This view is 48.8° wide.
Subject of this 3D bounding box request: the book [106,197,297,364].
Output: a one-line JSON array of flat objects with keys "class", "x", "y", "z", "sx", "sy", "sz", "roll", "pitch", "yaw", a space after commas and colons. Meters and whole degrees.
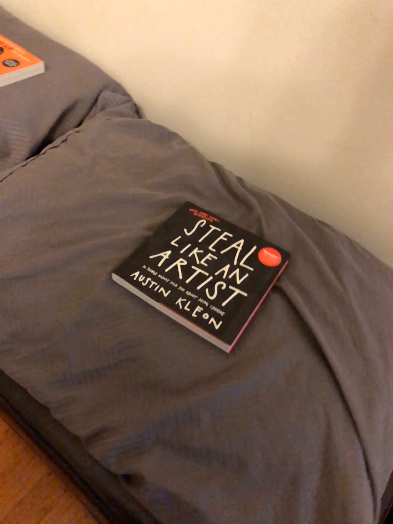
[{"class": "book", "x": 0.010, "y": 0.010, "z": 0.506, "sx": 0.160, "sy": 0.020, "sz": 0.161, "roll": 30, "pitch": 53, "yaw": 15}]
